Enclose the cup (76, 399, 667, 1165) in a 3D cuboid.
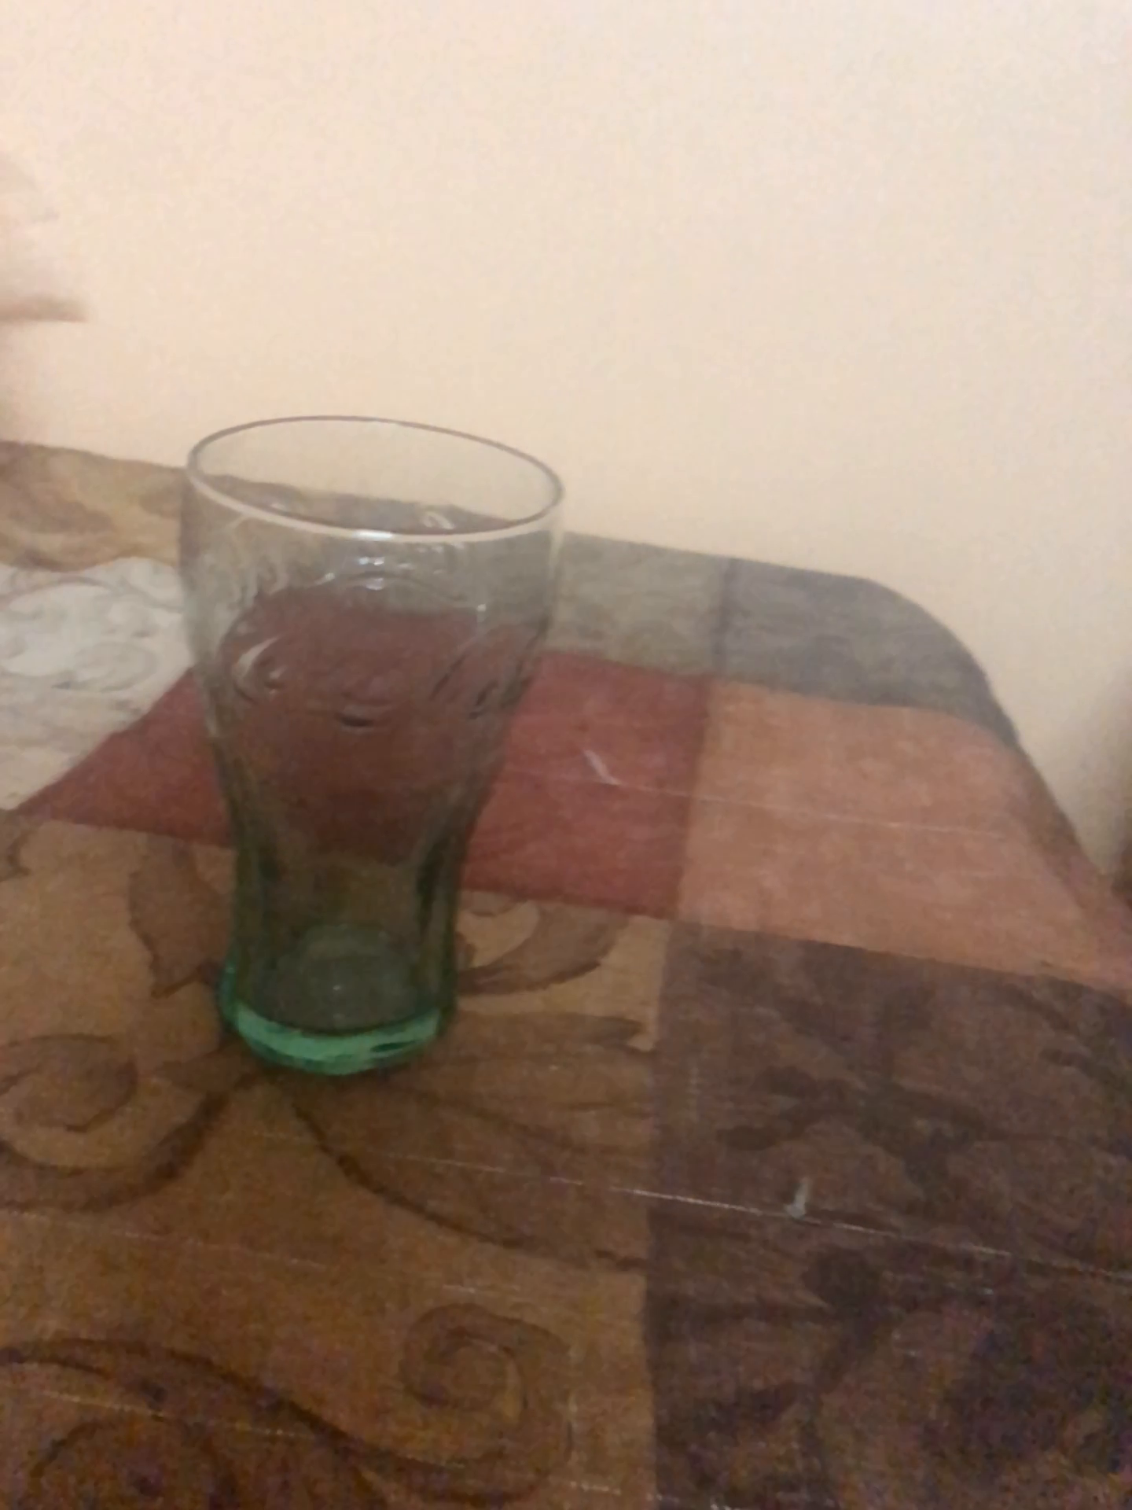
[{"bbox_3d":[-0.040,-0.001,0.236,0.070,0.110,0.070,8,27,-4],"label":"cup"}]
